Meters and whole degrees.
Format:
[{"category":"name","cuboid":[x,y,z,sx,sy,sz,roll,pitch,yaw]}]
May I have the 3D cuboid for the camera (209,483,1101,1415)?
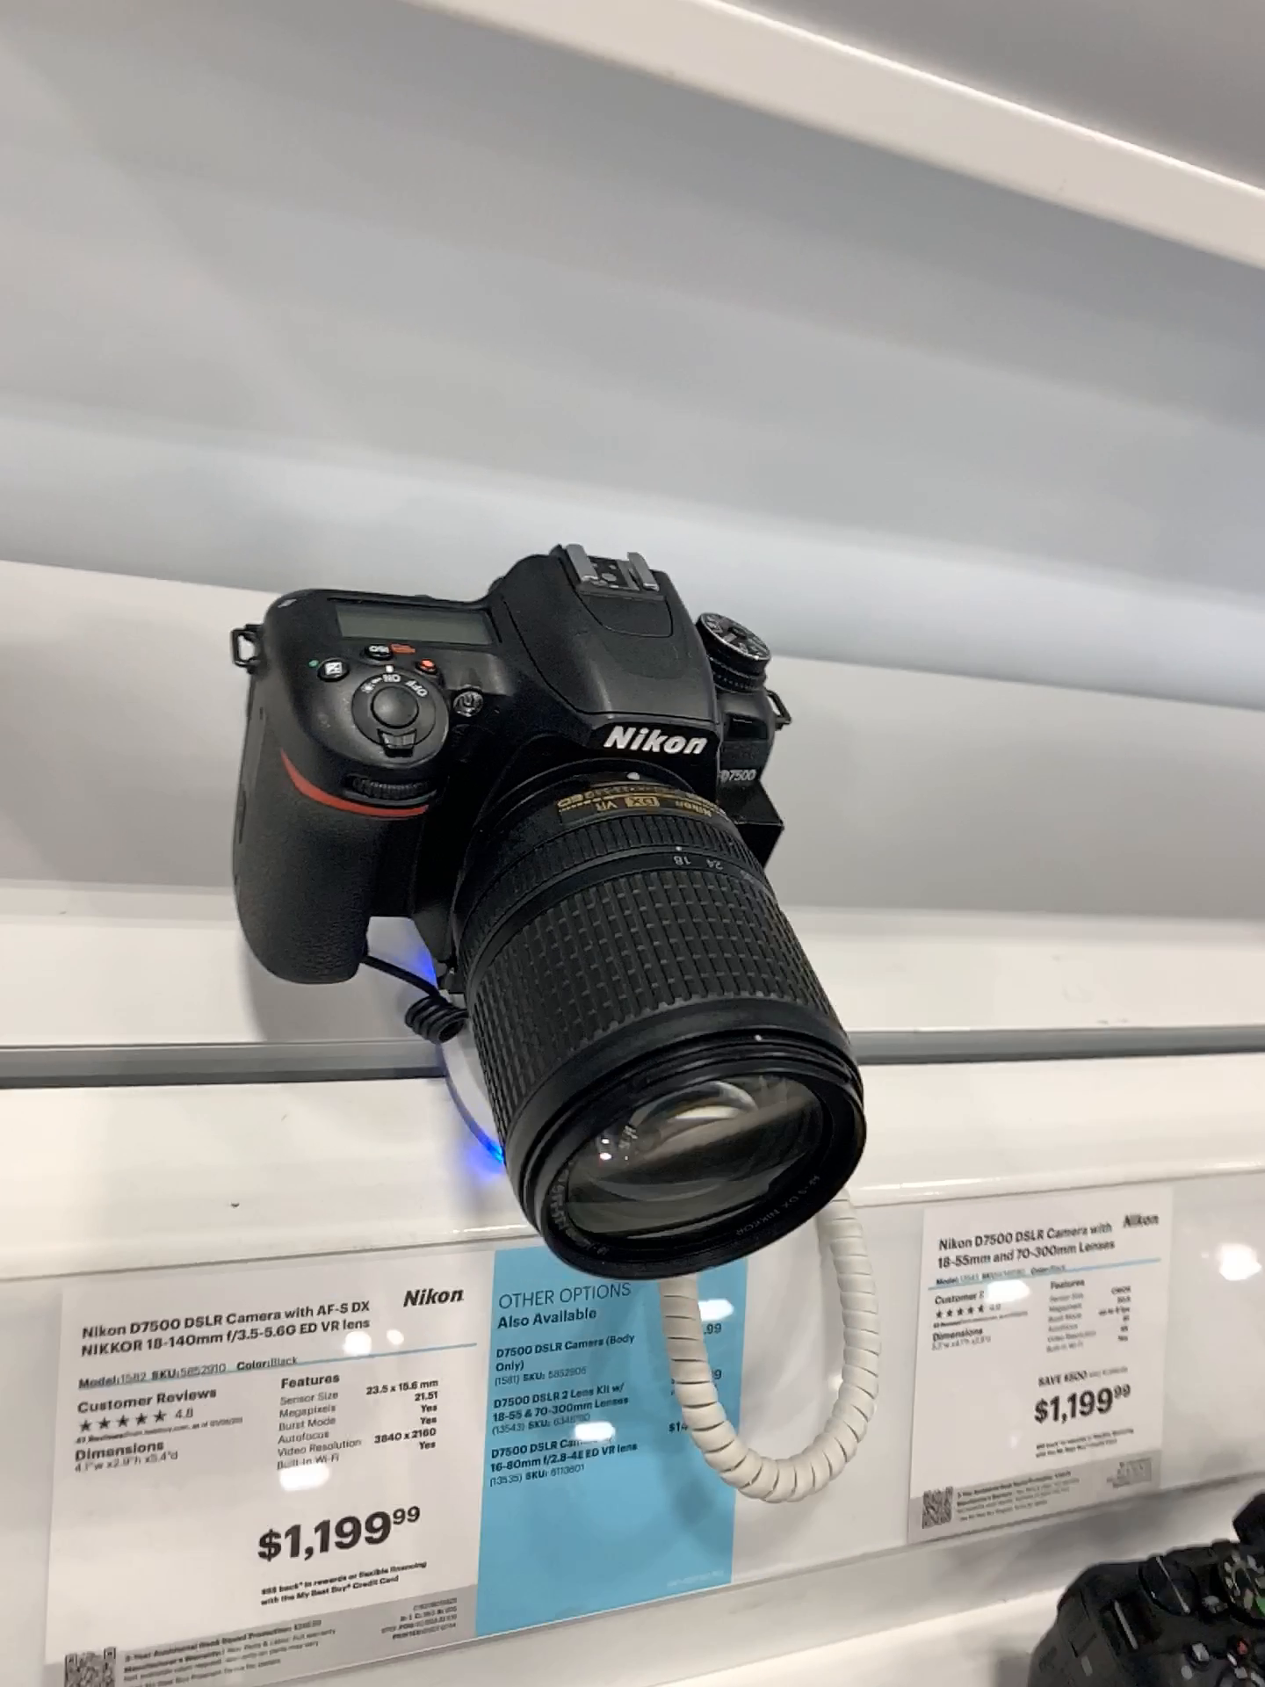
[{"category":"camera","cuboid":[-0.016,0.010,0.301,0.131,0.107,0.173,0,37,-25]}]
